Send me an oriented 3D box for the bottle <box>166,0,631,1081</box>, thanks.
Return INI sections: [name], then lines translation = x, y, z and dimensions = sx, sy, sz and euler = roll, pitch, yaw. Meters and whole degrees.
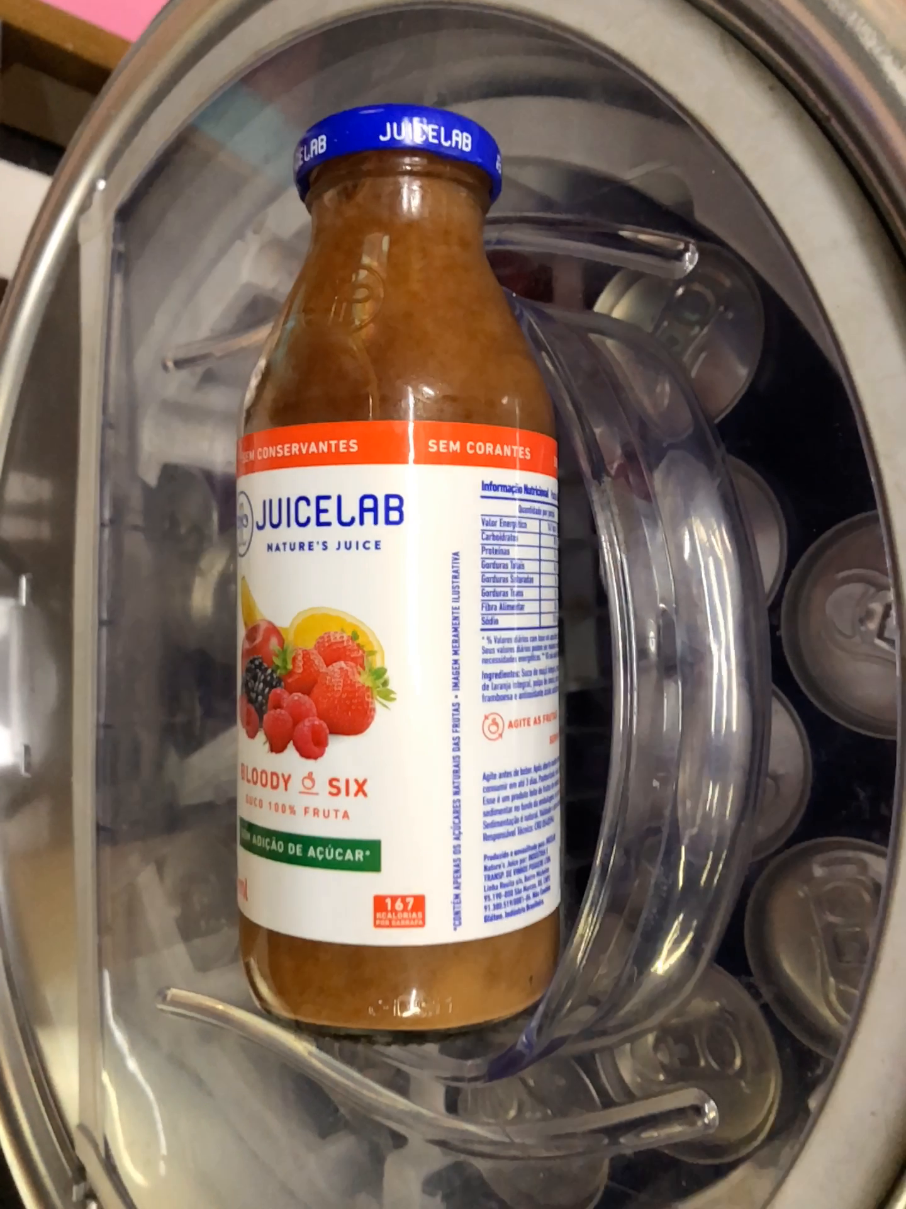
[bottle]
translation = -0.008, -0.019, 0.206
dimensions = 0.070, 0.060, 0.190
euler = 0, 88, 29
